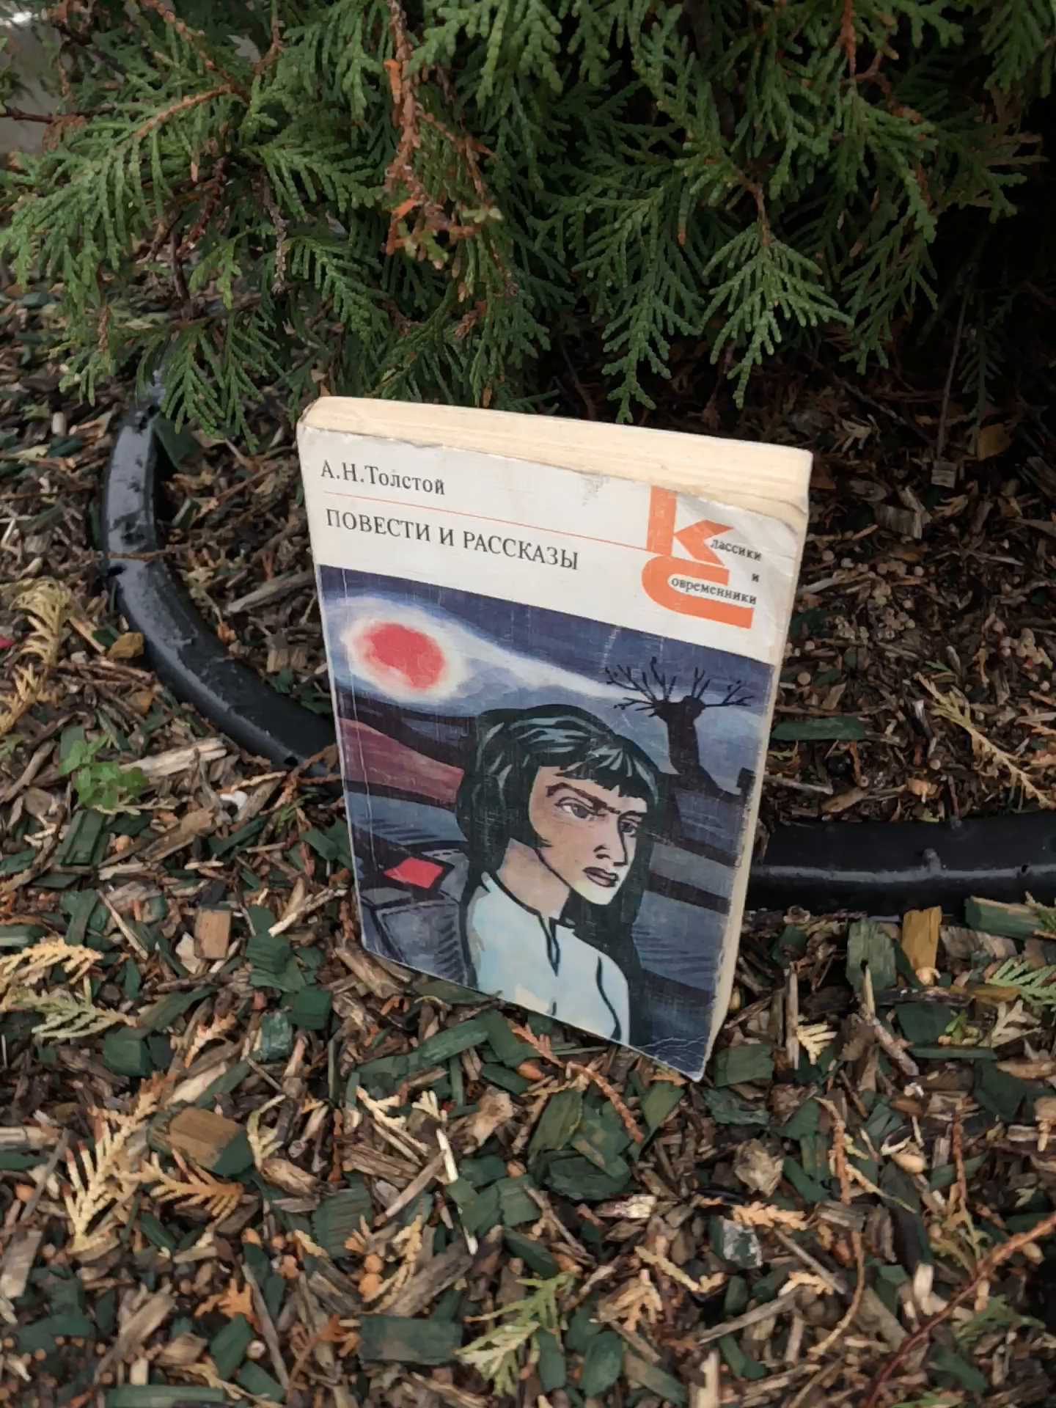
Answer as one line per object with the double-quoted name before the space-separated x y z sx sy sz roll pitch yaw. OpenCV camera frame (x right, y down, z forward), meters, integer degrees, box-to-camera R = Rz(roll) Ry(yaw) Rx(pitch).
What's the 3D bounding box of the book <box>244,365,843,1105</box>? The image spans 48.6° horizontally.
"book" 0.006 0.016 0.325 0.130 0.196 0.041 15 43 21
